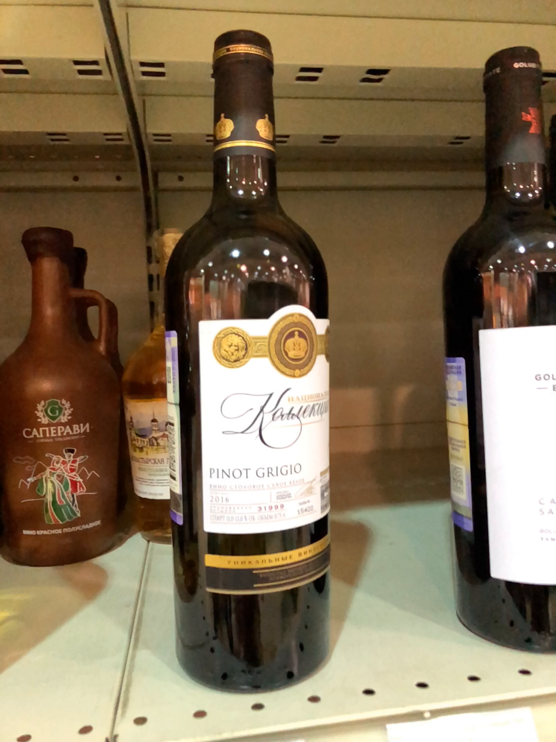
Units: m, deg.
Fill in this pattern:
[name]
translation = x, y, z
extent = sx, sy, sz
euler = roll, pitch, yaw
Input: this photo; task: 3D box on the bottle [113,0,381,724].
[bottle]
translation = -0.018, -0.017, 0.311
extent = 0.090, 0.320, 0.090
euler = -2, 2, 0
